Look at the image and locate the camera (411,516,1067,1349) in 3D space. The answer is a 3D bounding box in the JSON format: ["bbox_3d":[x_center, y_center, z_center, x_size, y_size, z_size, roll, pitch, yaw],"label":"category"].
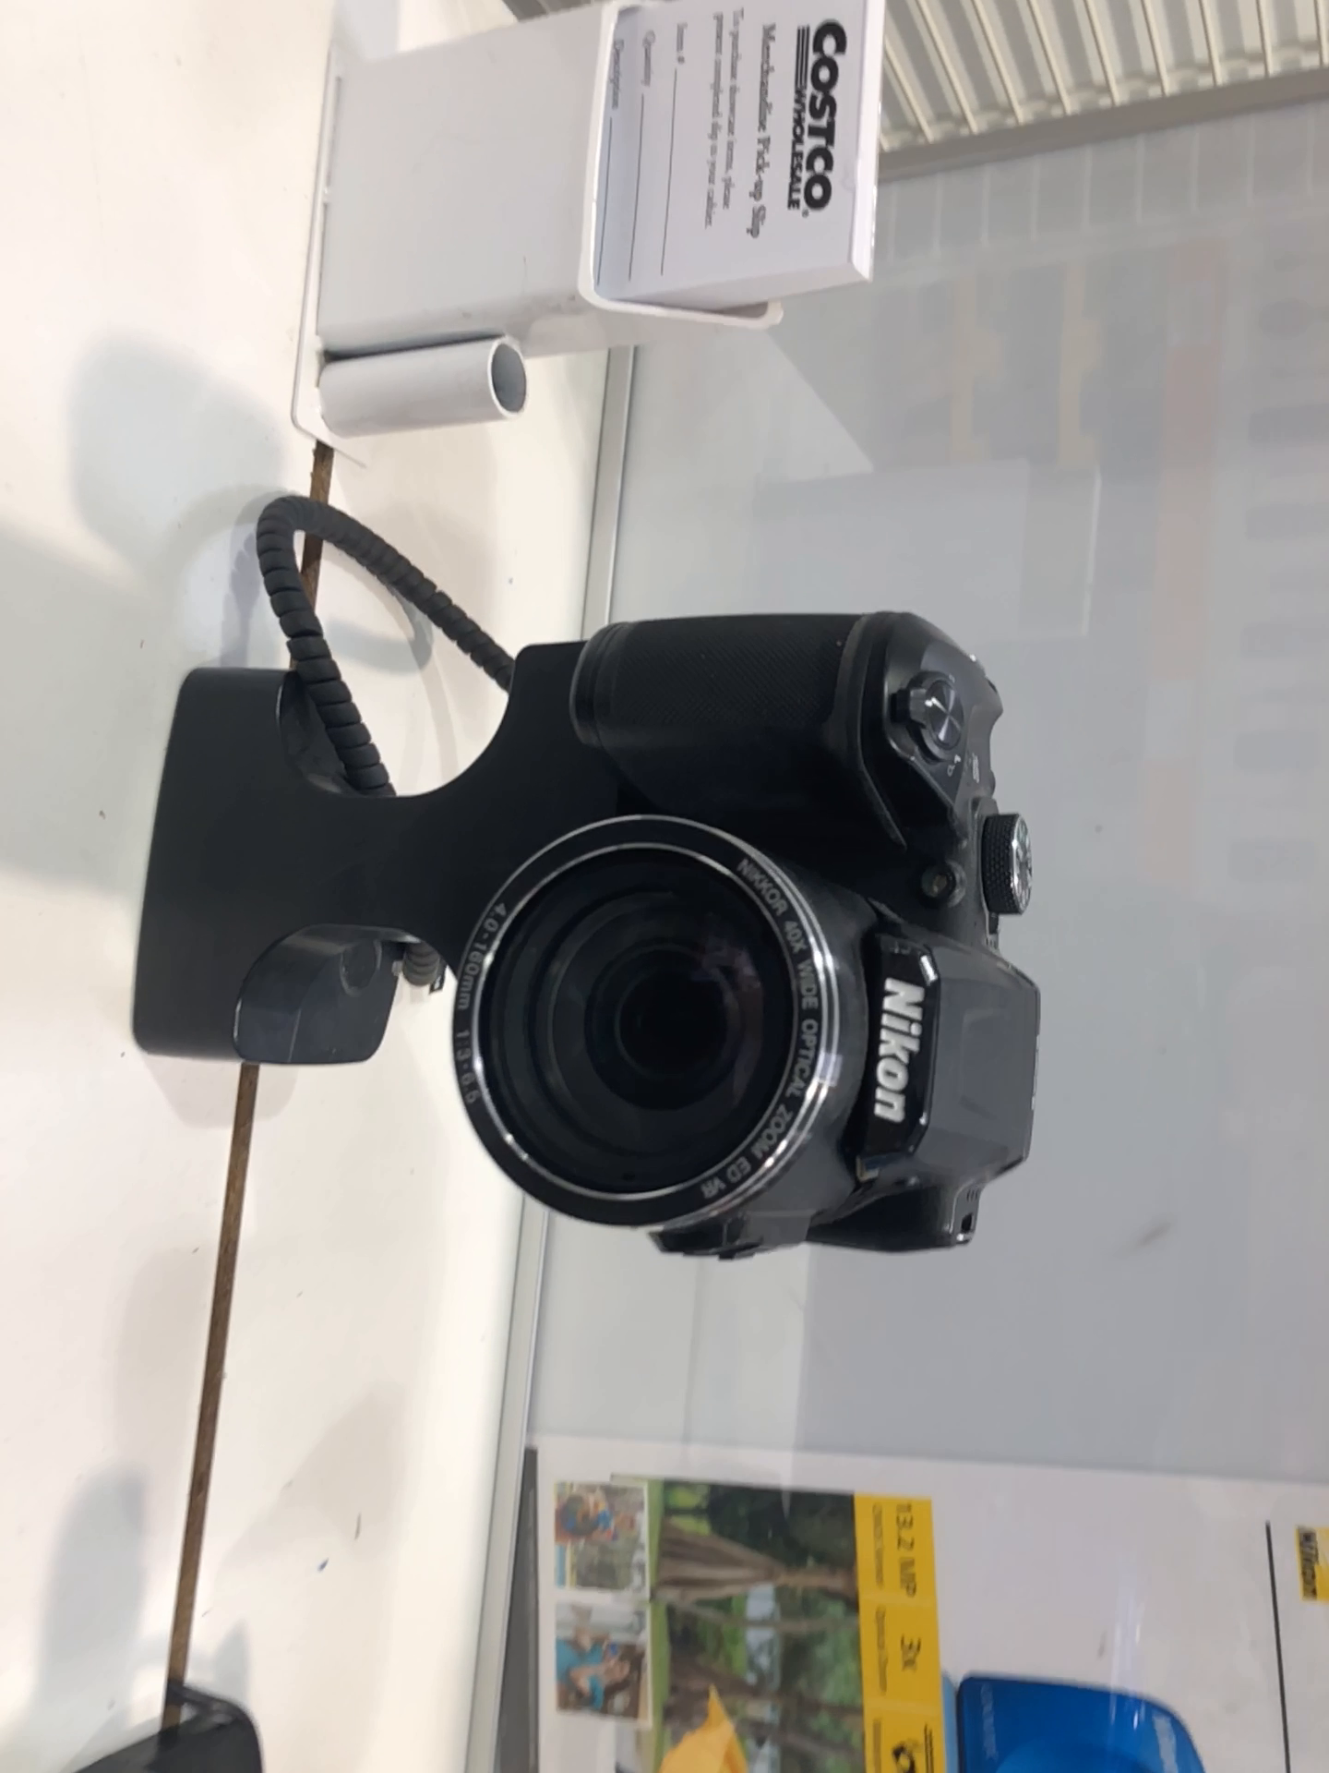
[{"bbox_3d":[0.021,0.009,0.266,0.101,0.079,0.116,14,79,-64],"label":"camera"}]
